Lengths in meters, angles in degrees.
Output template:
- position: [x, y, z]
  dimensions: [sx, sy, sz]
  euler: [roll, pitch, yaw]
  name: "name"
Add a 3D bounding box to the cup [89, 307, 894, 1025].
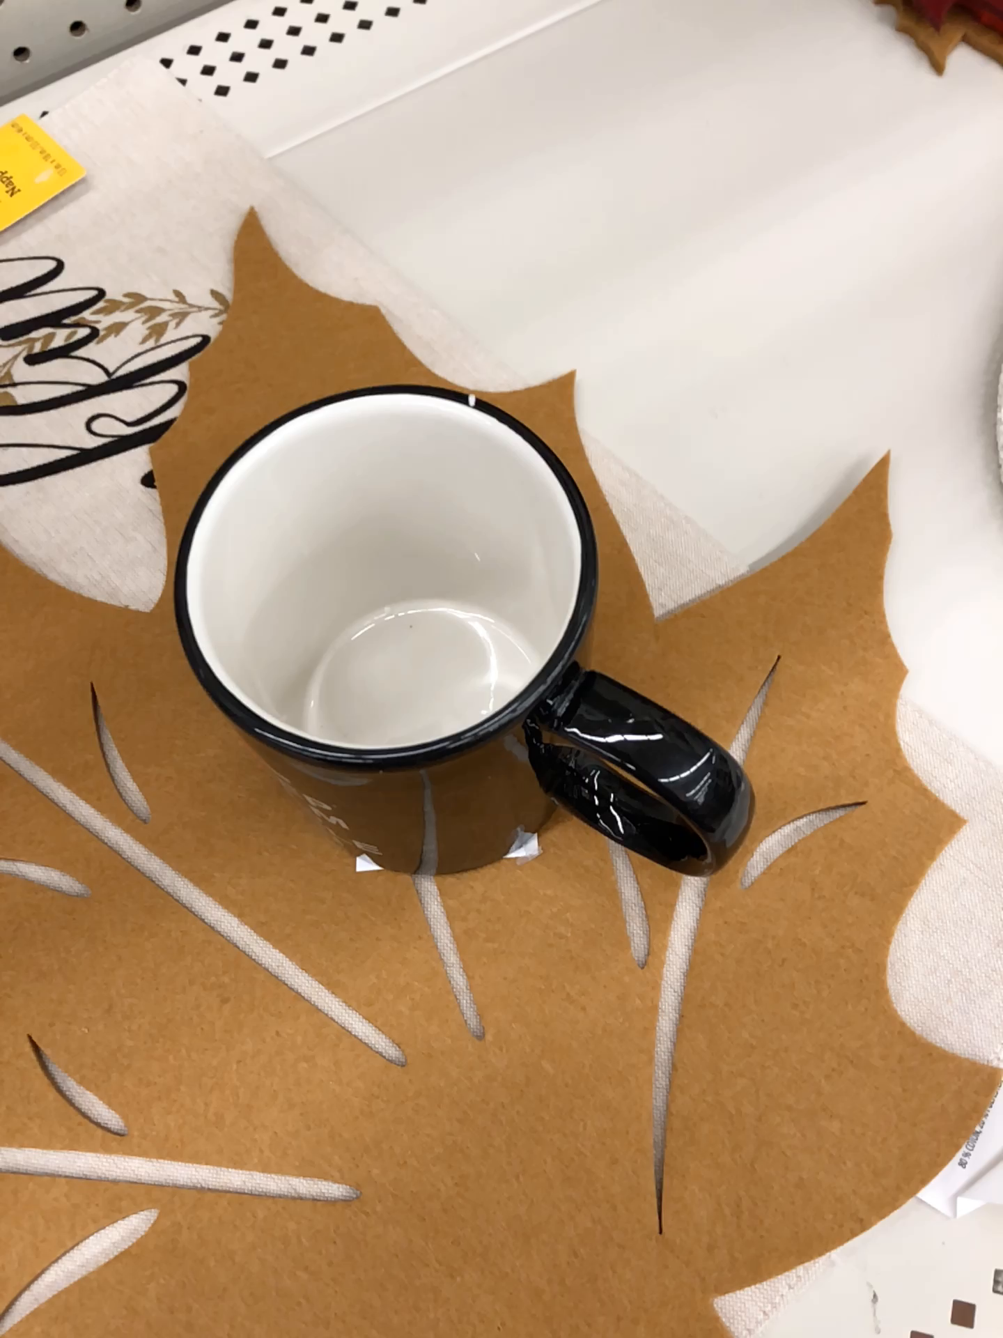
- position: [0.000, 0.007, 0.270]
  dimensions: [0.130, 0.110, 0.090]
  euler: [28, 72, 13]
  name: "cup"
